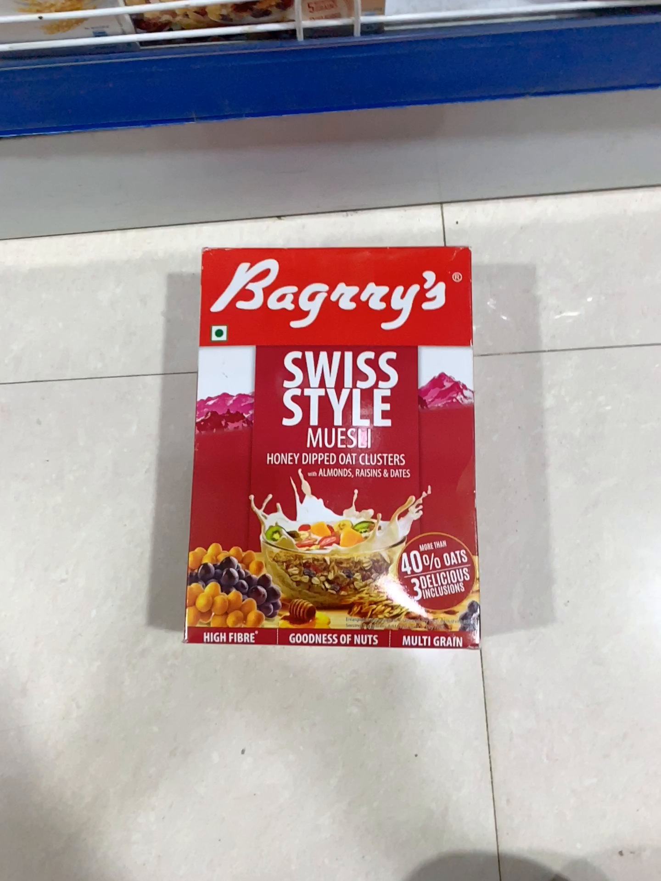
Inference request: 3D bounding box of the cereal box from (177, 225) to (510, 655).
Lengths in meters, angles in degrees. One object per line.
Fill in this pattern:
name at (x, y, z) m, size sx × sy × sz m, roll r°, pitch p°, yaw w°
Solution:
cereal box at (0.010, -0.001, 0.448) m, size 0.190 × 0.080 × 0.260 m, roll 1°, pitch 80°, yaw 3°
